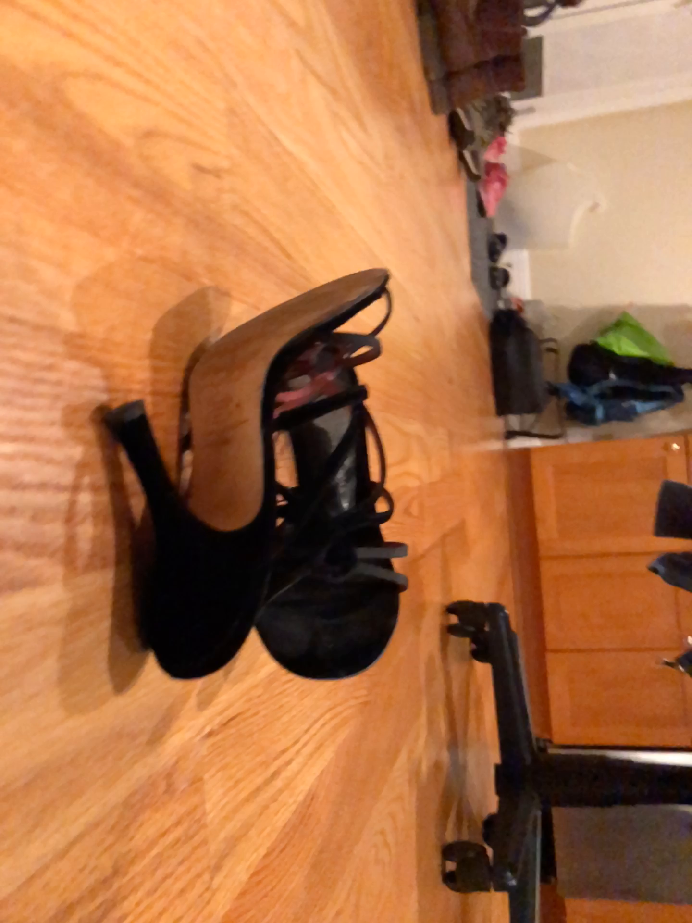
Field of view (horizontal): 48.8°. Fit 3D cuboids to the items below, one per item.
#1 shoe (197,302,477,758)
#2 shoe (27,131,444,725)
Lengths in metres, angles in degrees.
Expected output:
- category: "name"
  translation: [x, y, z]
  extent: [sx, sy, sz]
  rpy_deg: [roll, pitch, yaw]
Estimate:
- category: "shoe"
  translation: [0.011, 0.032, 0.409]
  extent: [0.102, 0.104, 0.216]
  rpy_deg: [68, 23, -50]
- category: "shoe"
  translation: [-0.020, -0.026, 0.308]
  extent: [0.082, 0.104, 0.236]
  rpy_deg: [72, 20, -49]
